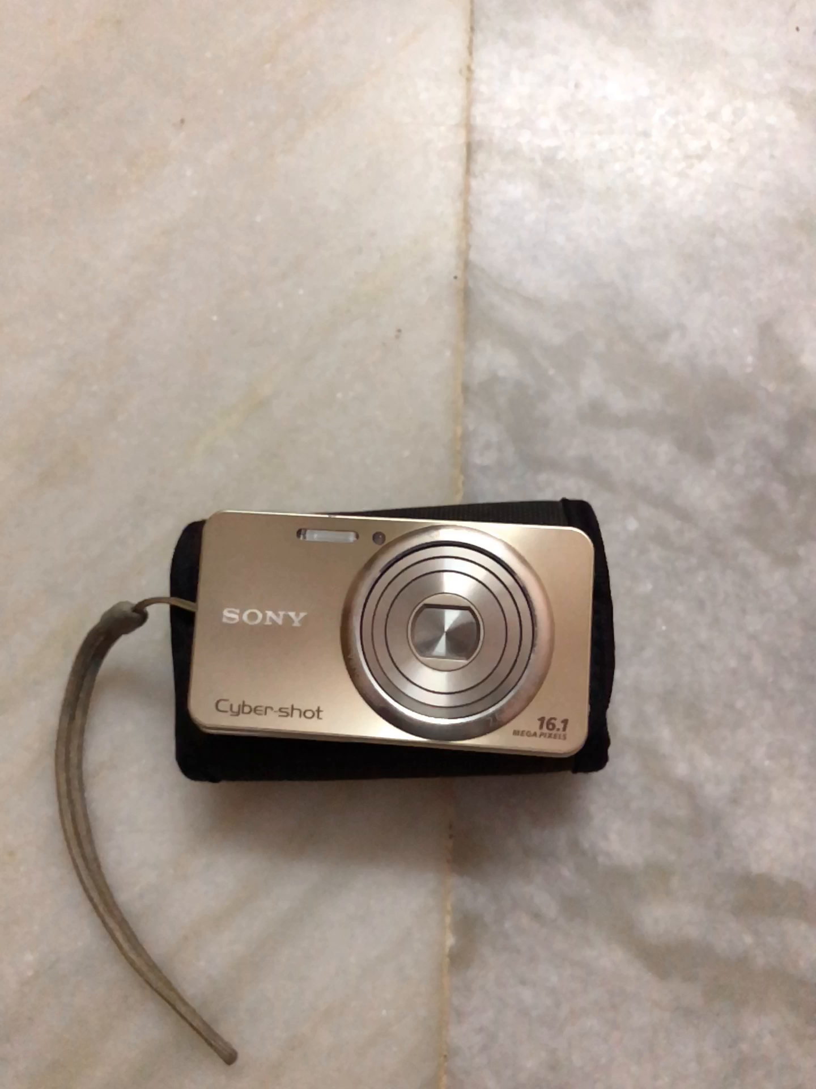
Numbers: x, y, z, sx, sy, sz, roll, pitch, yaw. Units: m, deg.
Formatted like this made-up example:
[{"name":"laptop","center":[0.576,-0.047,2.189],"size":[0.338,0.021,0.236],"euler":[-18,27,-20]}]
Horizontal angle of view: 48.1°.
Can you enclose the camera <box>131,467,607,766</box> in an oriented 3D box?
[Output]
[{"name":"camera","center":[-0.008,0.016,0.208],"size":[0.100,0.020,0.060],"euler":[2,82,3]}]
